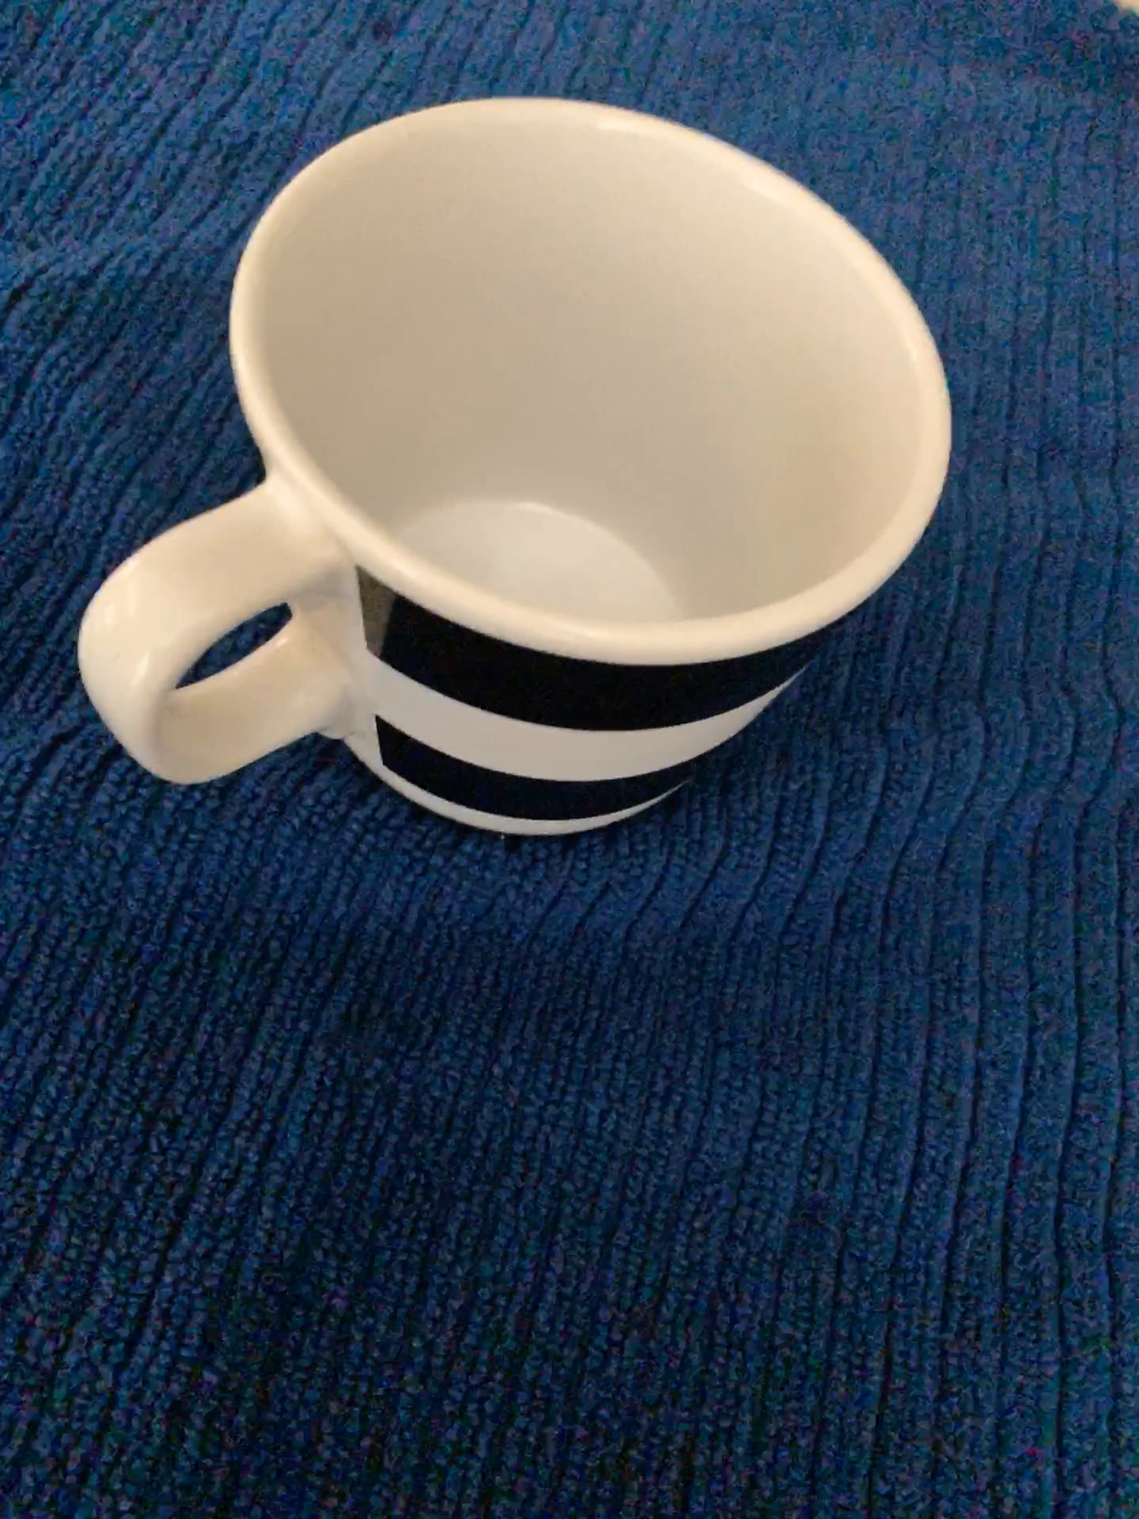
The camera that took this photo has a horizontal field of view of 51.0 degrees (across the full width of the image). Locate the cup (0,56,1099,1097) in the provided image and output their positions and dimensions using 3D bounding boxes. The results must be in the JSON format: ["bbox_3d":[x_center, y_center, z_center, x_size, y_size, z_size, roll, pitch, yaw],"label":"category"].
[{"bbox_3d":[-0.006,-0.031,0.162,0.113,0.057,0.085,-36,72,-27],"label":"cup"}]
